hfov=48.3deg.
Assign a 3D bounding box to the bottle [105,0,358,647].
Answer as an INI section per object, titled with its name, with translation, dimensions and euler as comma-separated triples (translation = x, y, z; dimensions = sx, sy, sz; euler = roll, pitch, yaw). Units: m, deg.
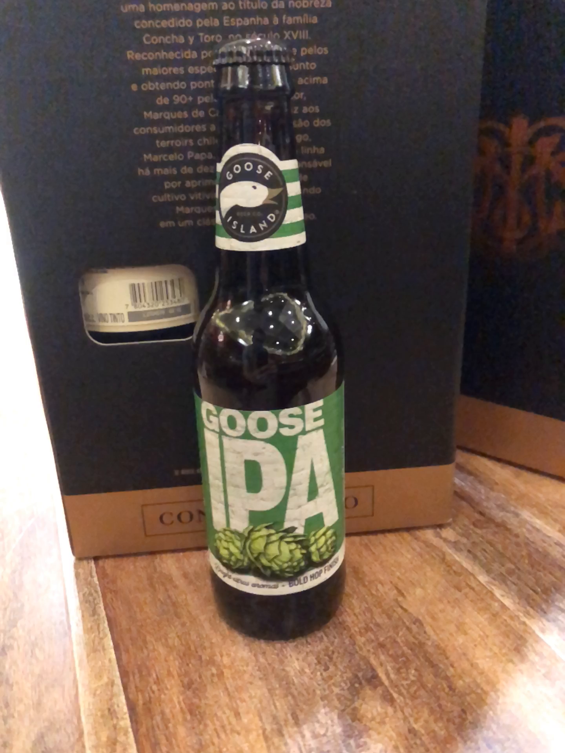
[bottle]
translation = -0.010, -0.011, 0.242
dimensions = 0.070, 0.229, 0.060
euler = -3, 21, -1
